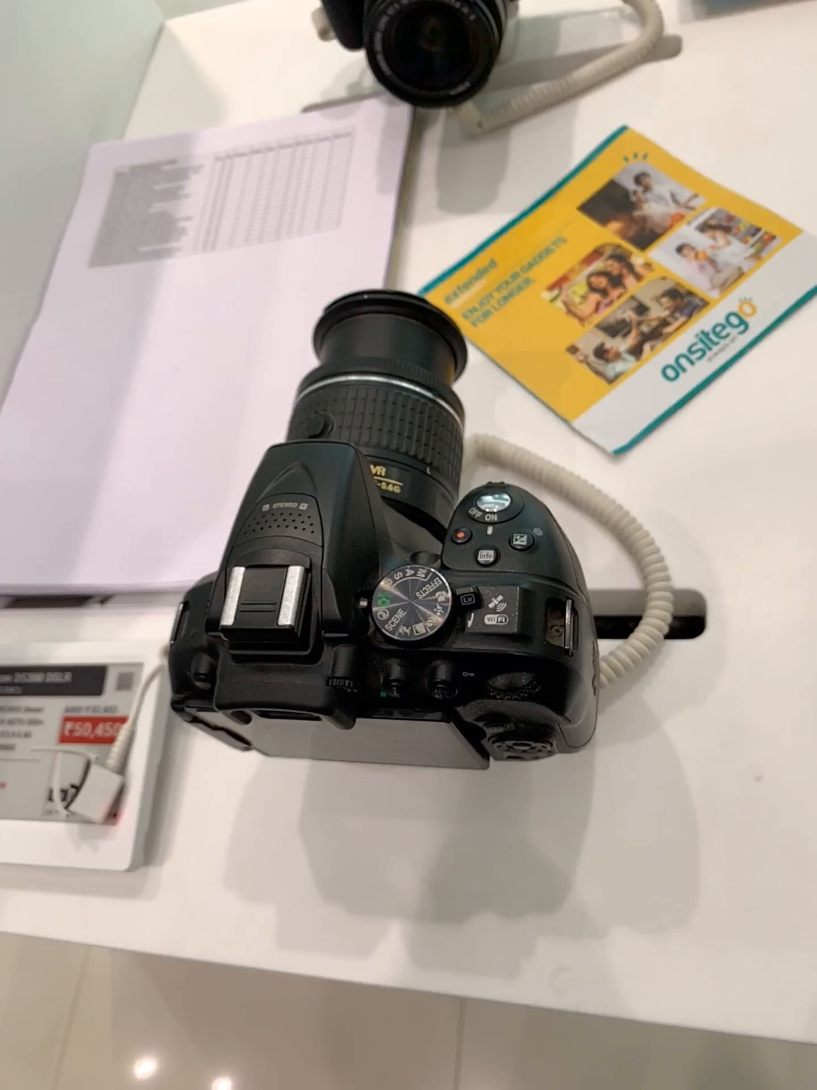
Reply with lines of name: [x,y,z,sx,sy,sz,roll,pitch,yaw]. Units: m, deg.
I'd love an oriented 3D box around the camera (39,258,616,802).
camera: [-0.007,0.003,0.239,0.118,0.100,0.107,-1,63,18]
